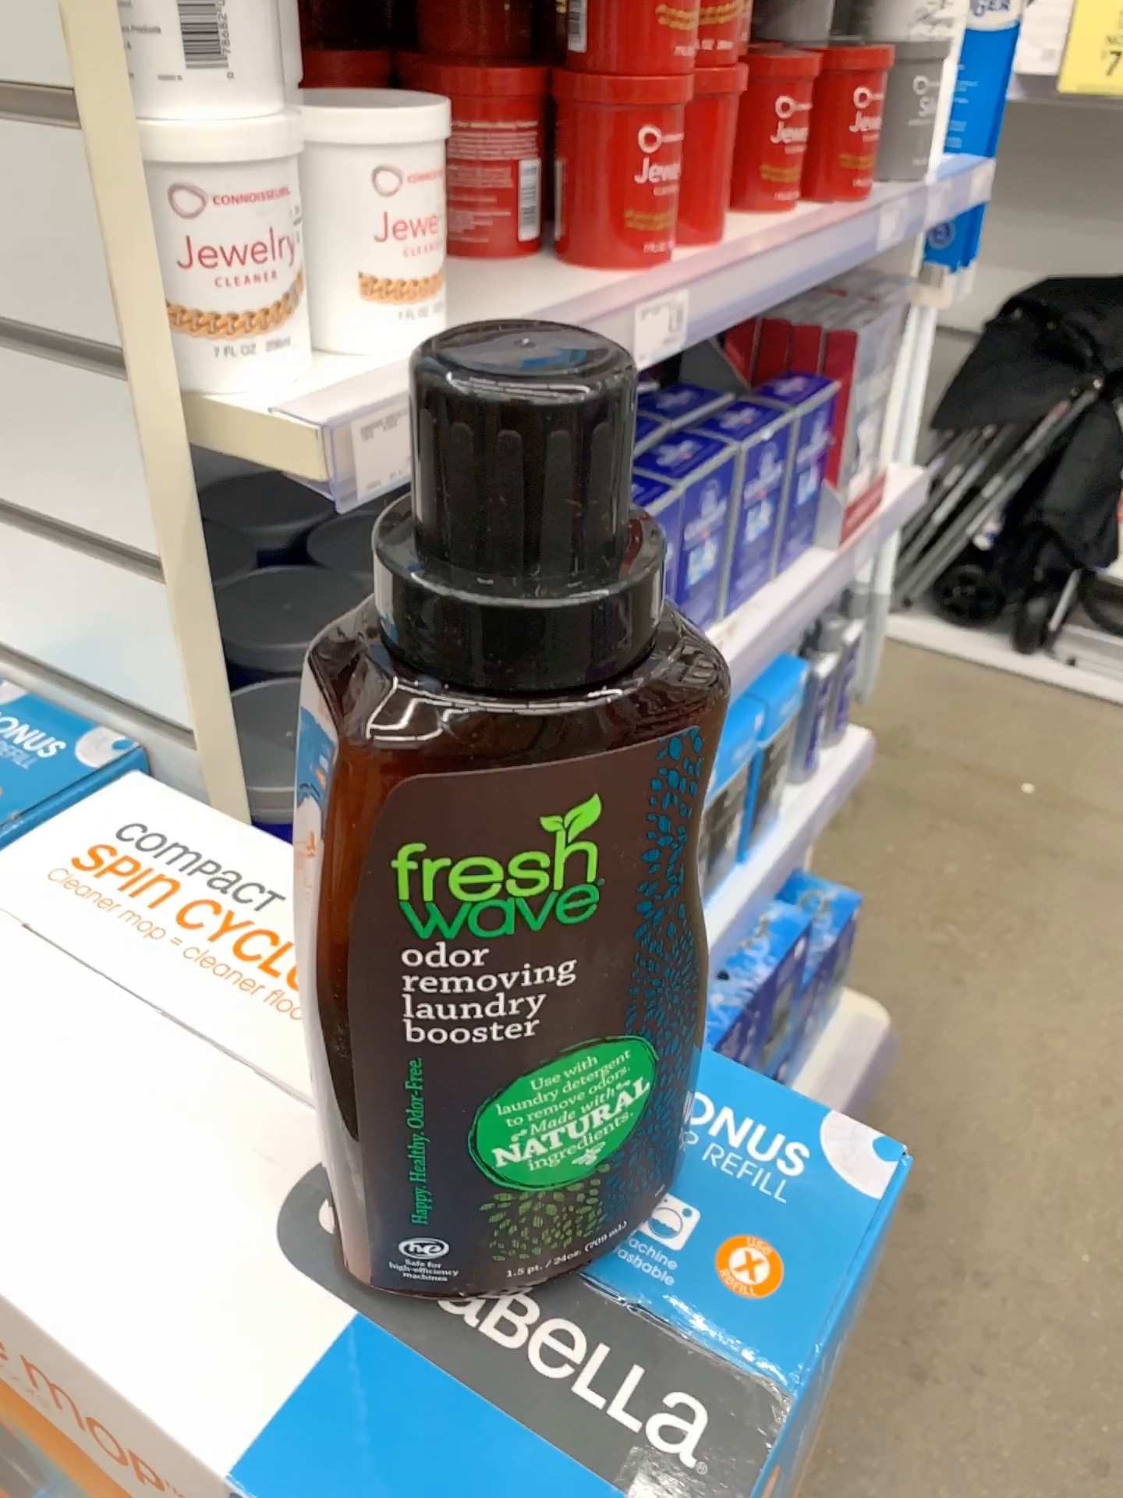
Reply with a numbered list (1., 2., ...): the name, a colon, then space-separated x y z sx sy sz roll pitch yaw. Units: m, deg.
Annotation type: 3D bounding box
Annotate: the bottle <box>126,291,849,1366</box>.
1. bottle: -0.019 0.025 0.244 0.100 0.209 0.070 -9 35 -16
